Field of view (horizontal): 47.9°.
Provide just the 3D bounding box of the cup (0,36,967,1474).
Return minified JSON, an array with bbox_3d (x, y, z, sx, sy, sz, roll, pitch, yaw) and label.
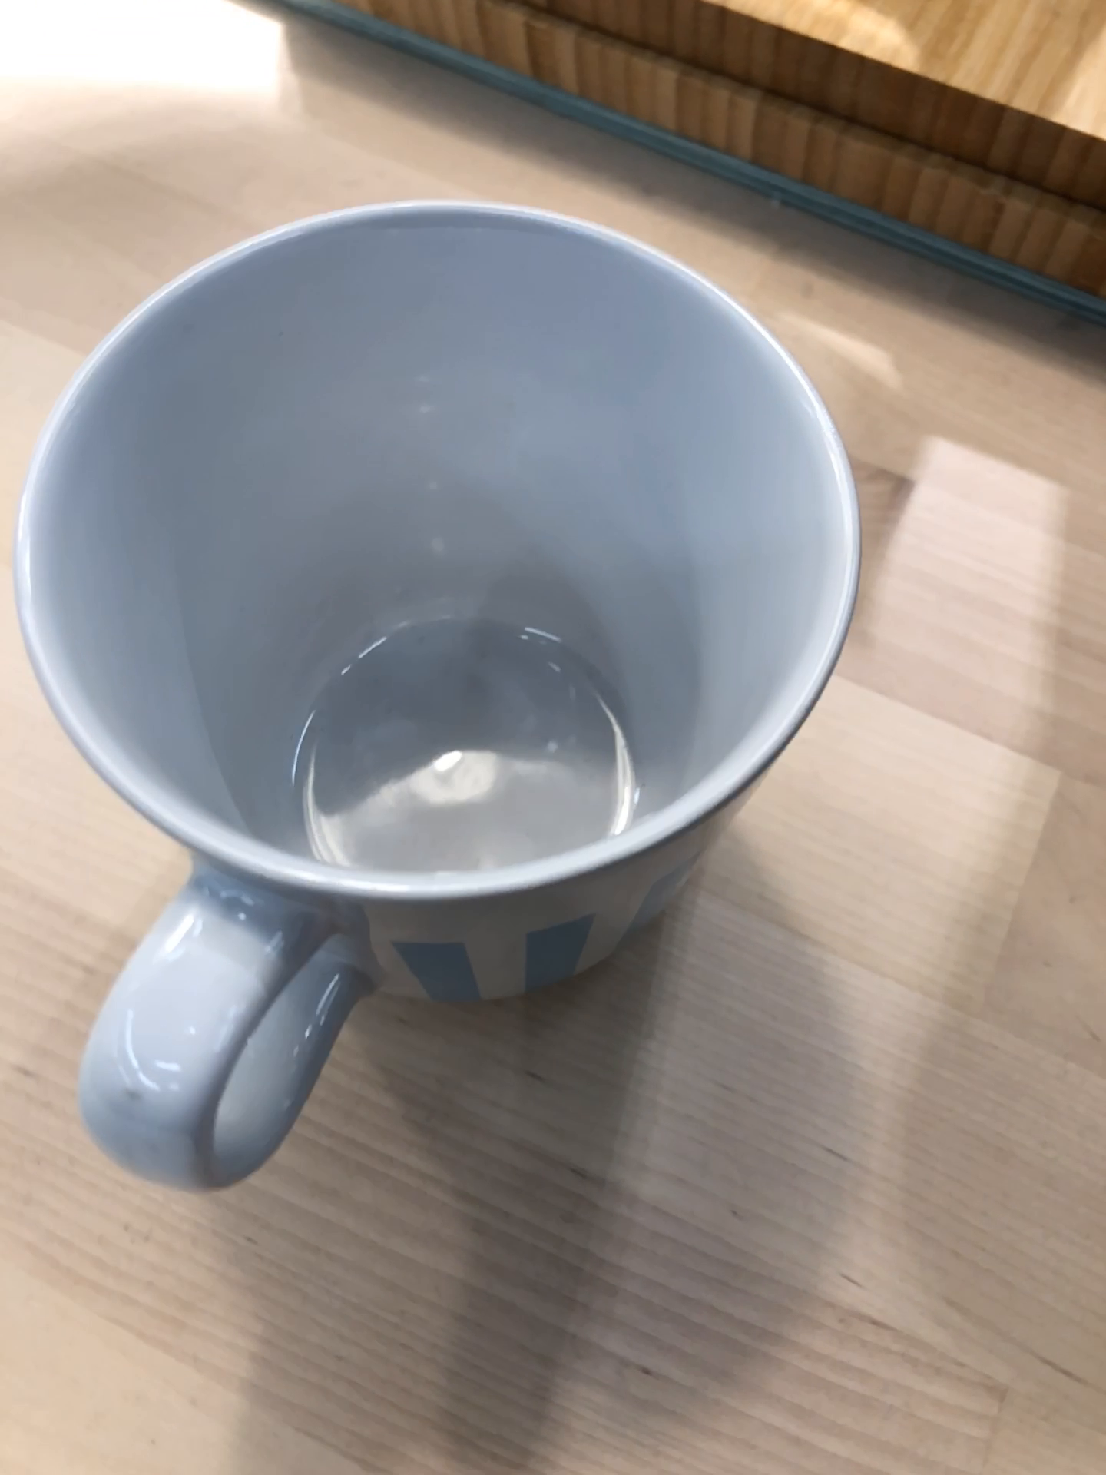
[{"bbox_3d":[-0.021,0.002,0.146,0.080,0.080,0.120,24,66,10],"label":"cup"}]
